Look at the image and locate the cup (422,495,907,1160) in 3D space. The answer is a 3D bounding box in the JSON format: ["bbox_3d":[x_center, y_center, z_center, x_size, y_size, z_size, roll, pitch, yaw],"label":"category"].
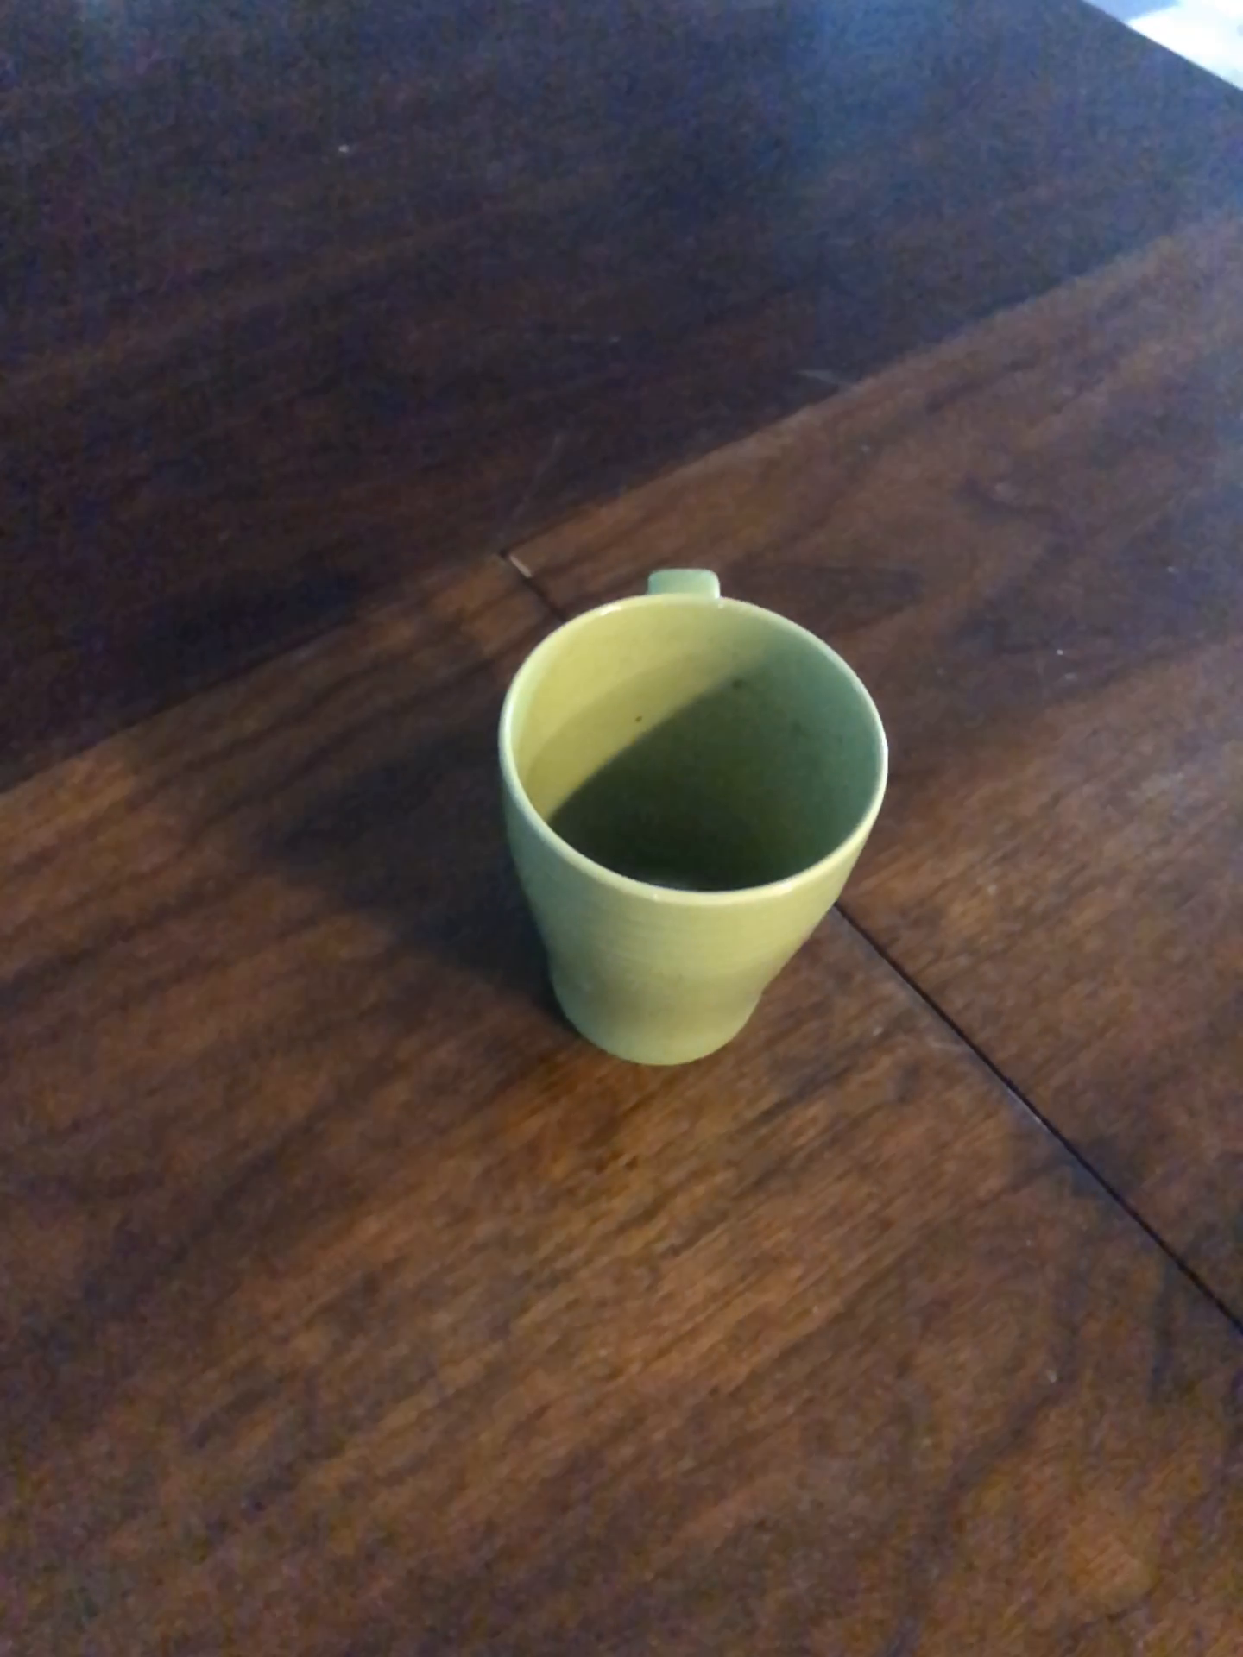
[{"bbox_3d":[0.009,0.000,0.327,0.090,0.090,0.120,5,54,-1],"label":"cup"}]
